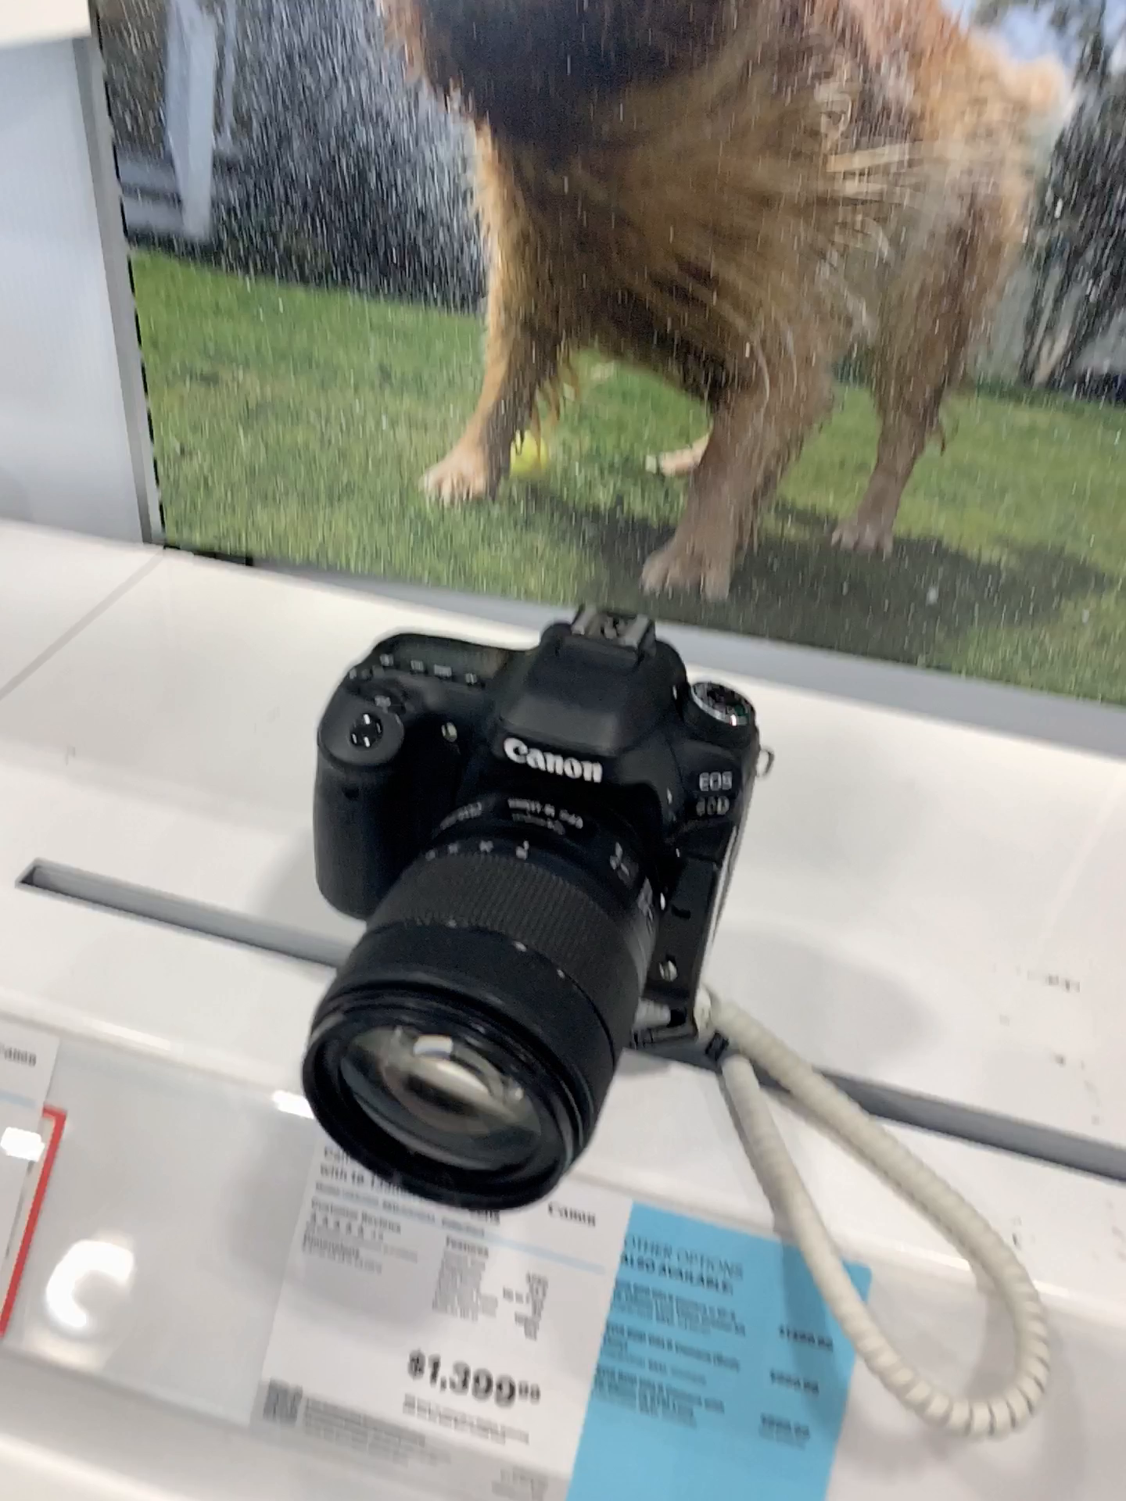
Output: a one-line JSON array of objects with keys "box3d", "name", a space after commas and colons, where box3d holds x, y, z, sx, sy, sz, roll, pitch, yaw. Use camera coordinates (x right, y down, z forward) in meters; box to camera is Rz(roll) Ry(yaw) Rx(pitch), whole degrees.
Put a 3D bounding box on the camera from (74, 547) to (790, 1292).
[{"box3d": [-0.022, 0.035, 0.331, 0.140, 0.100, 0.161, 12, 38, 9], "name": "camera"}]
